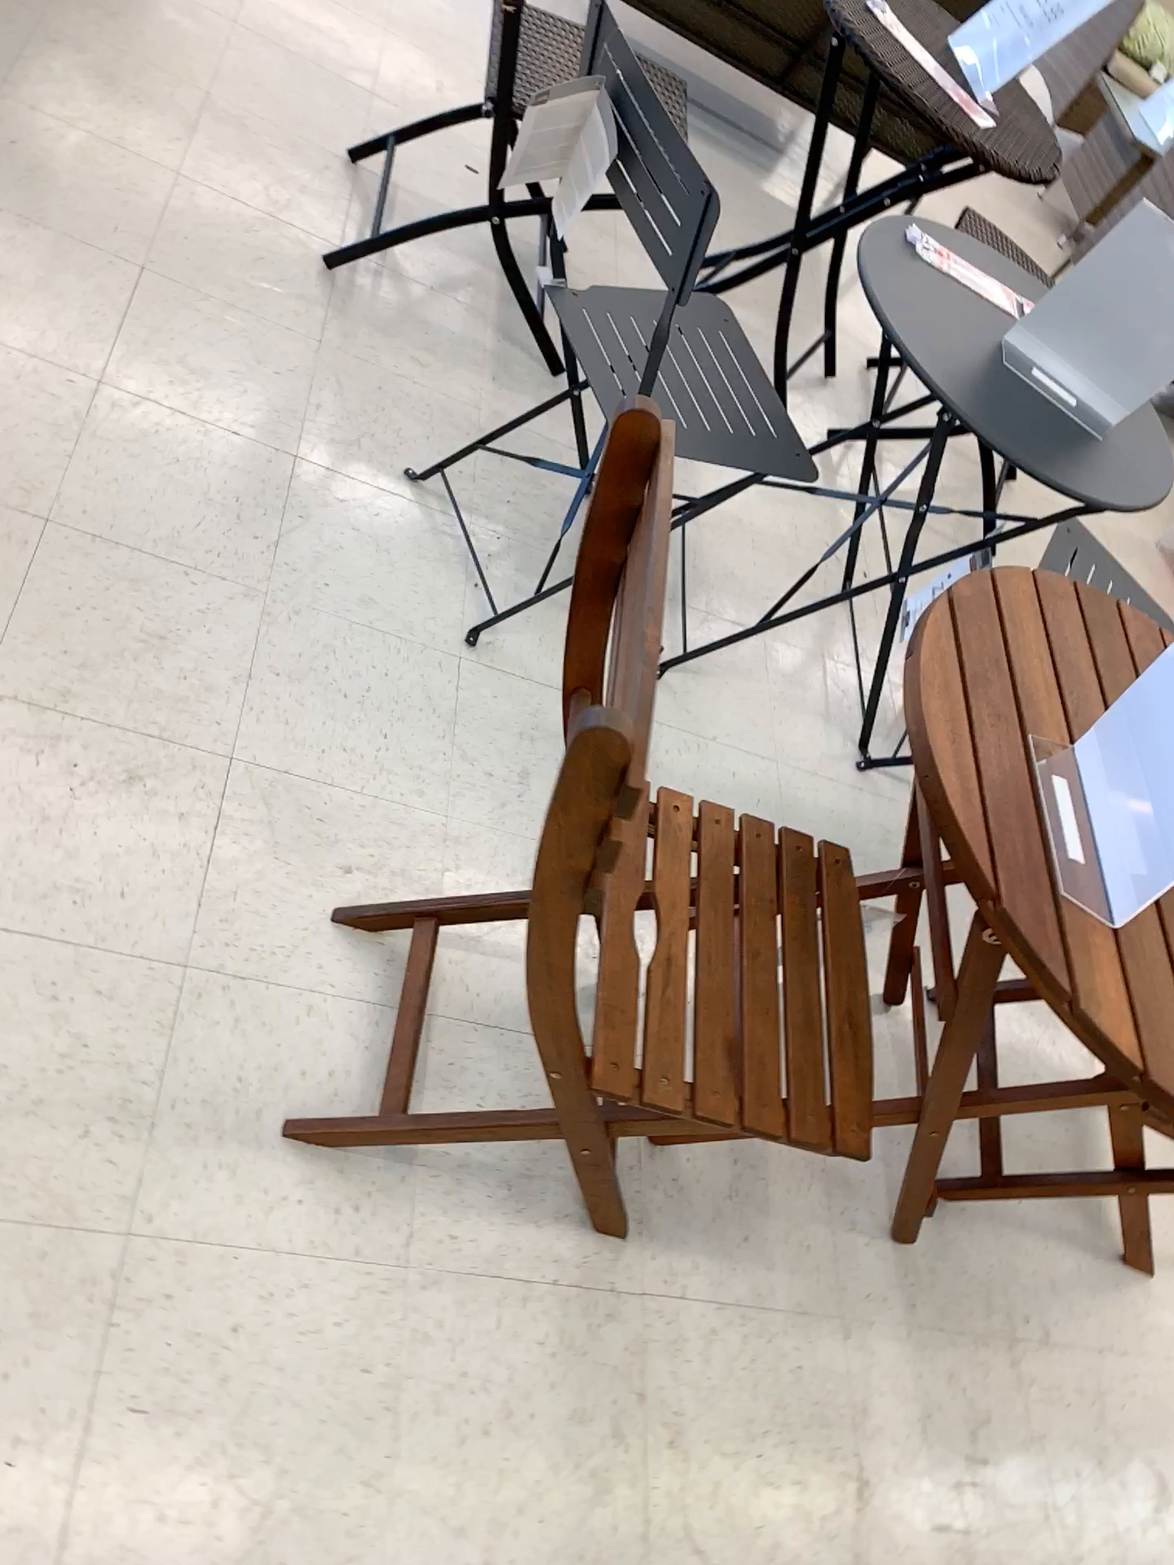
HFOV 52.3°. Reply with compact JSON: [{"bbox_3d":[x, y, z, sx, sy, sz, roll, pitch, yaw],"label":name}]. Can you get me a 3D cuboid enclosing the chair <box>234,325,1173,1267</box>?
[{"bbox_3d":[0.075,0.110,1.161,0.551,0.776,0.441,19,50,-21],"label":"chair"}]
